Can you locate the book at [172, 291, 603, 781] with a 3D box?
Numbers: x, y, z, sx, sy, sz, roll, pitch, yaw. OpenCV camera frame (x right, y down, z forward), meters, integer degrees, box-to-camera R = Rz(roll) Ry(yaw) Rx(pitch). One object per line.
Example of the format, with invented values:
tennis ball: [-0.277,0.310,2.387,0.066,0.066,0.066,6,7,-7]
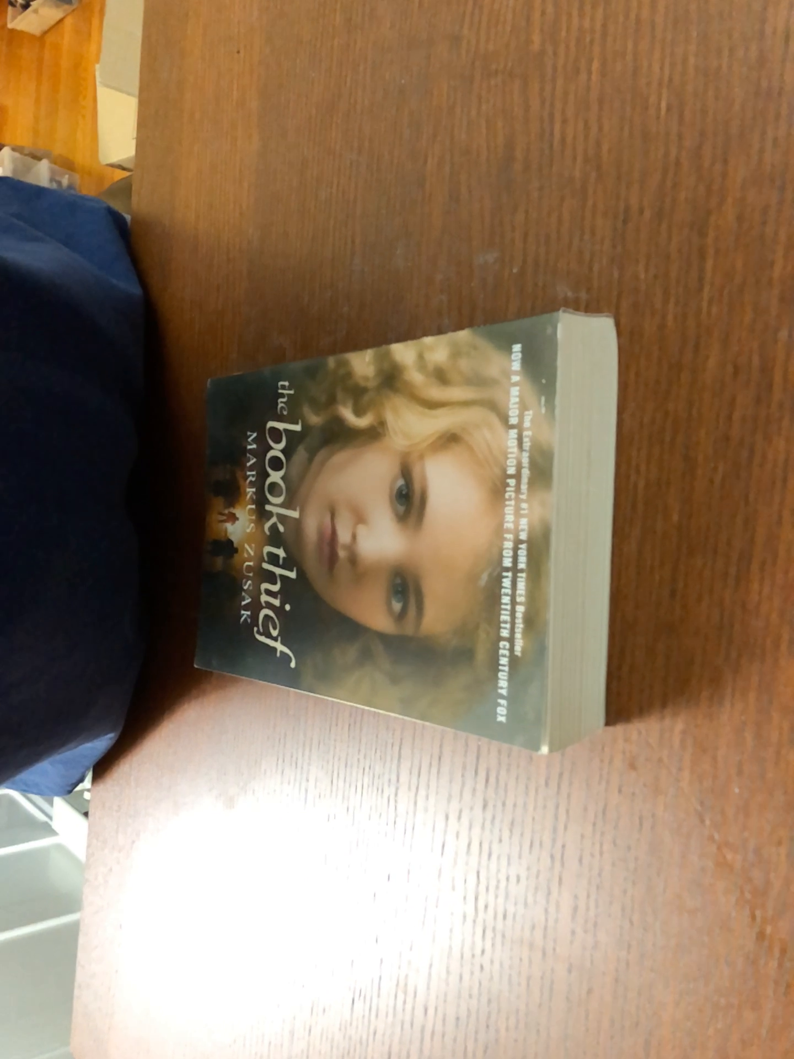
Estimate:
book: [-0.021,-0.001,0.358,0.221,0.030,0.150,3,90,47]
